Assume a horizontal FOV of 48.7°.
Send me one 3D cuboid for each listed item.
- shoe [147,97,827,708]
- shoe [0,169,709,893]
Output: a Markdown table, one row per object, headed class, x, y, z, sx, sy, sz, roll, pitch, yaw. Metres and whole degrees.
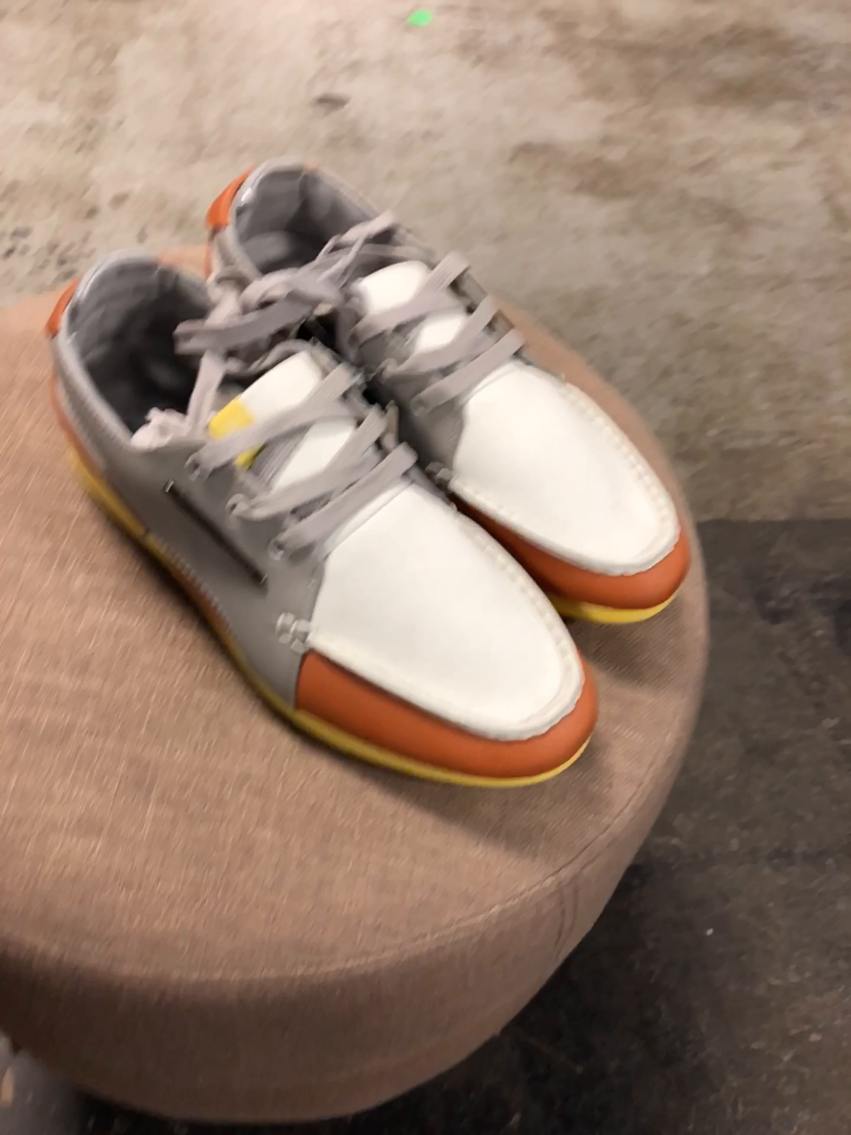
| class | x | y | z | sx | sy | sz | roll | pitch | yaw |
| --- | --- | --- | --- | --- | --- | --- | --- | --- | --- |
| shoe | 0.013 | -0.076 | 0.392 | 0.251 | 0.099 | 0.100 | 38 | 59 | 18 |
| shoe | -0.052 | -0.024 | 0.361 | 0.281 | 0.099 | 0.100 | 38 | 59 | 18 |
